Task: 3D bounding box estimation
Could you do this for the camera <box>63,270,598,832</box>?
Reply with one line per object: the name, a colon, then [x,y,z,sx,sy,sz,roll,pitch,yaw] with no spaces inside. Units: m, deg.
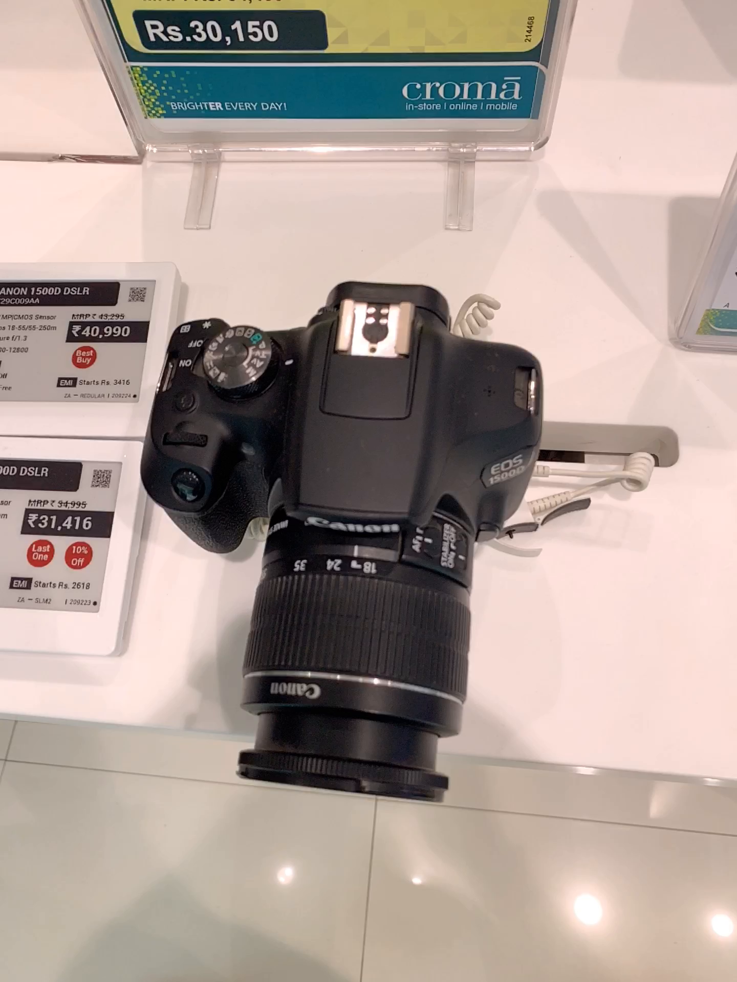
camera: [0.000,0.021,0.219,0.110,0.090,0.130,5,67,5]
